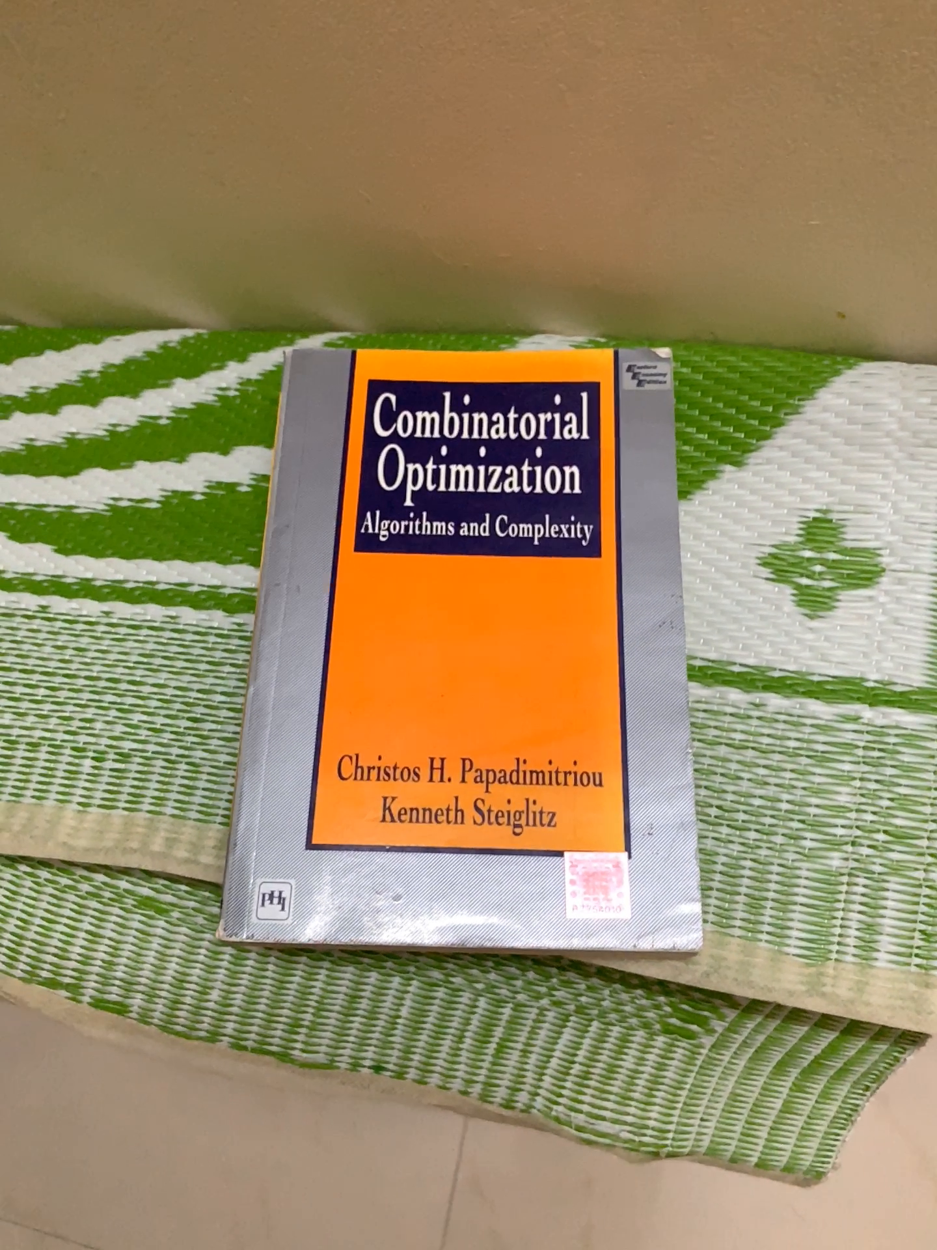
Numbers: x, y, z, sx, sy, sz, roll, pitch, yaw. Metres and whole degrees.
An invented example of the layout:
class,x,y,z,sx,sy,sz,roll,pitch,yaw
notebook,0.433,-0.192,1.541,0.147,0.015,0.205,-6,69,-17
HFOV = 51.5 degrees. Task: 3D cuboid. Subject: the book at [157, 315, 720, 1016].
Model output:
class,x,y,z,sx,sy,sz,roll,pitch,yaw
book,-0.007,0.000,0.370,0.170,0.040,0.271,1,64,1
